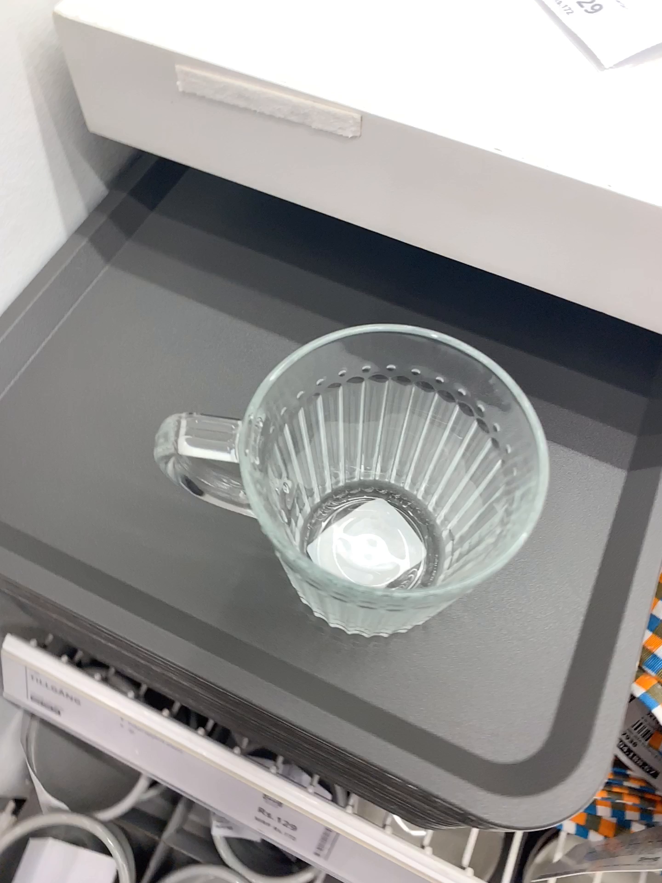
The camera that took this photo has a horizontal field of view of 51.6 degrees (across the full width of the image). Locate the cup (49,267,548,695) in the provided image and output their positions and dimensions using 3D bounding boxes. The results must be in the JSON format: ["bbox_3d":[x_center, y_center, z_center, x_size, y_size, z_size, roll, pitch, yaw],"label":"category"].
[{"bbox_3d":[-0.005,0.015,0.211,0.110,0.080,0.080,14,61,6],"label":"cup"}]
